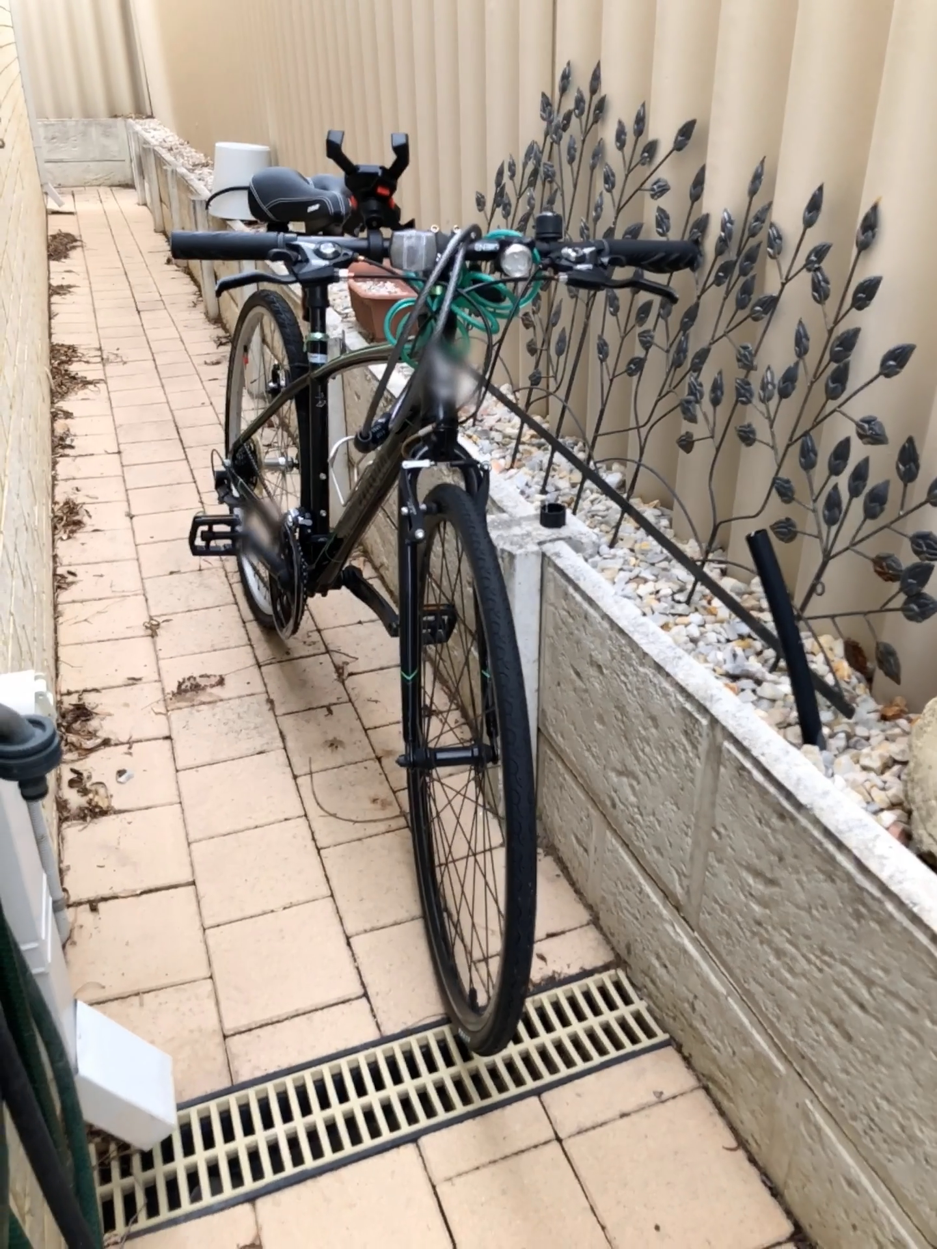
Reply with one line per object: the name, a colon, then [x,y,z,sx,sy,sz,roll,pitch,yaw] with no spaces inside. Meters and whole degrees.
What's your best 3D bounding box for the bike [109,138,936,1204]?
bike: [-0.121,-0.234,1.621,0.638,0.859,1.706,-10,31,-18]
